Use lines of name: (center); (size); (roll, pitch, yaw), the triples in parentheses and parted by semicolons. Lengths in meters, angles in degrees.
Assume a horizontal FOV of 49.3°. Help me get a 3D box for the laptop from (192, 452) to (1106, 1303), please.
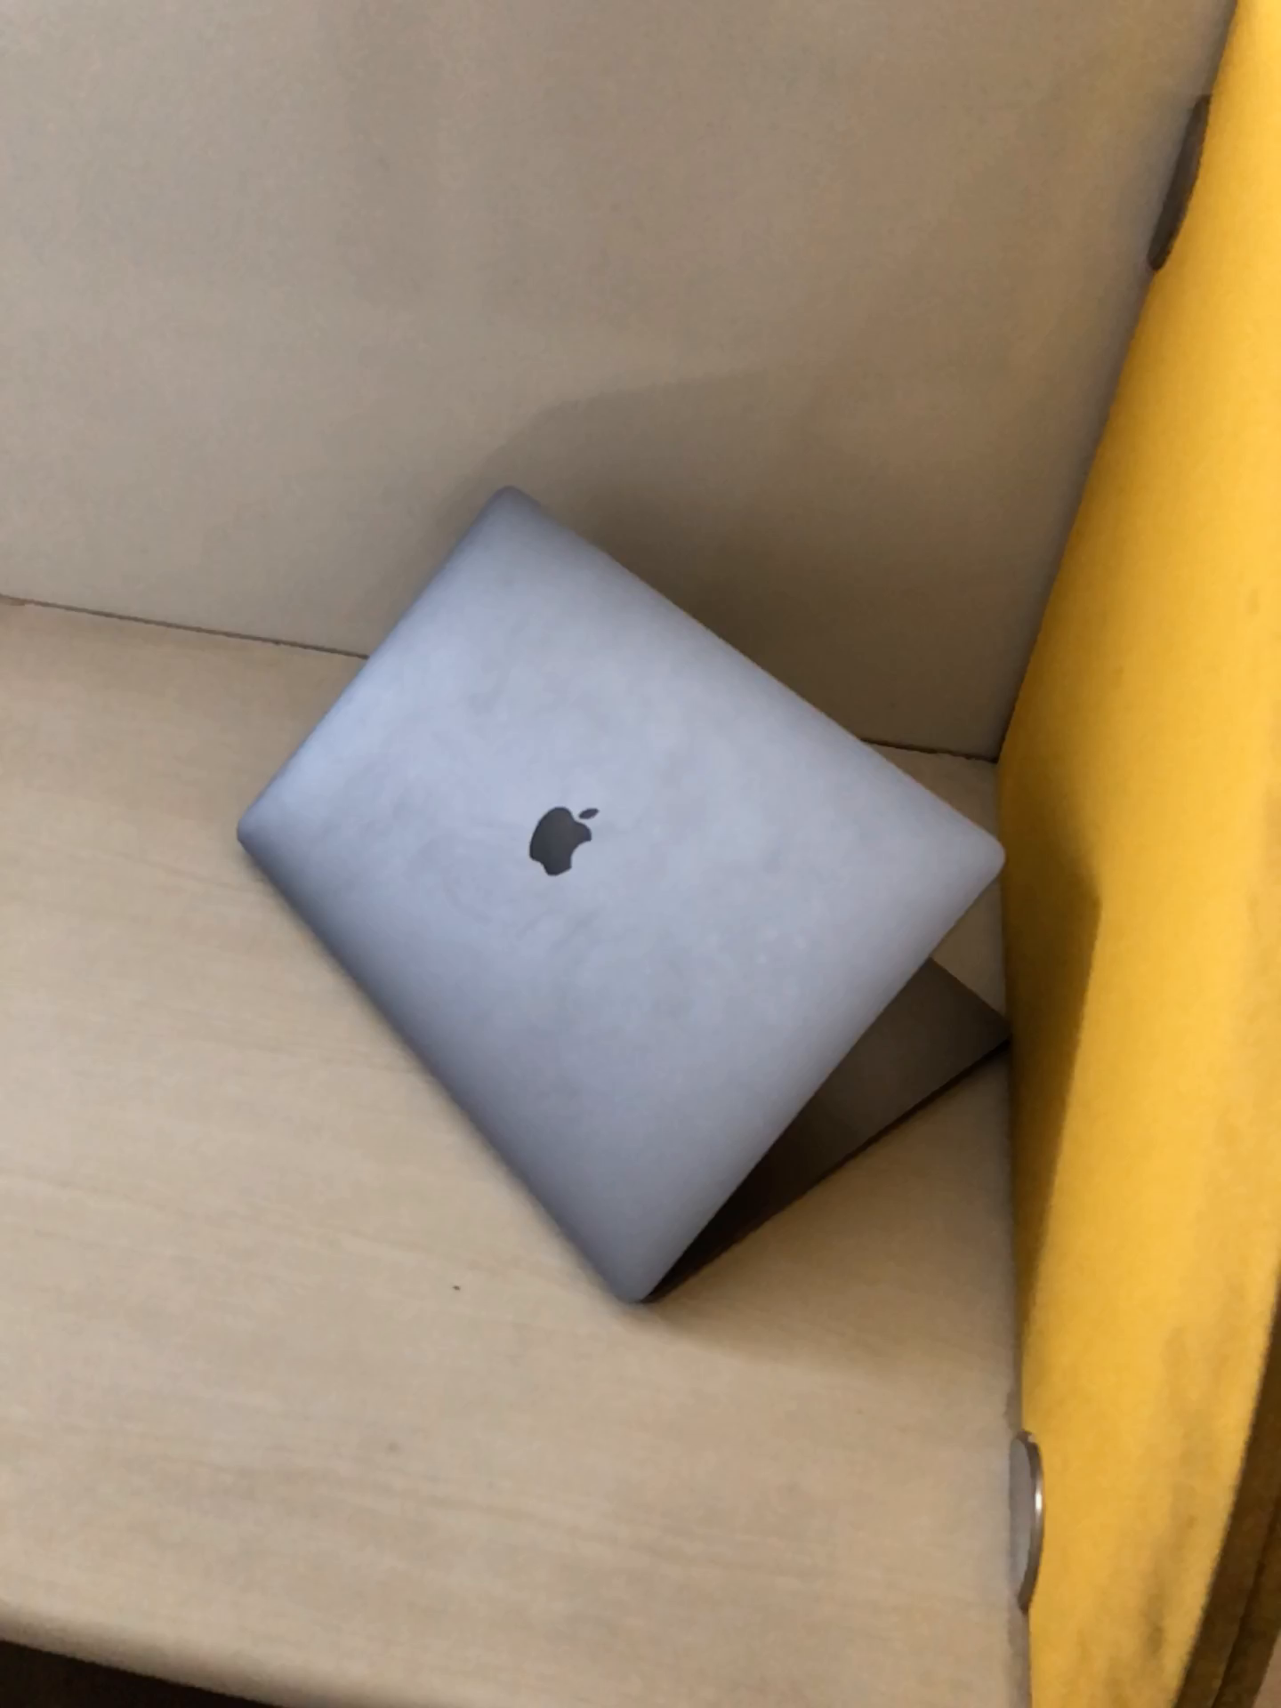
laptop: (-0.013, -0.017, 0.668); (0.236, 0.152, 0.346); (-28, 53, -29)
